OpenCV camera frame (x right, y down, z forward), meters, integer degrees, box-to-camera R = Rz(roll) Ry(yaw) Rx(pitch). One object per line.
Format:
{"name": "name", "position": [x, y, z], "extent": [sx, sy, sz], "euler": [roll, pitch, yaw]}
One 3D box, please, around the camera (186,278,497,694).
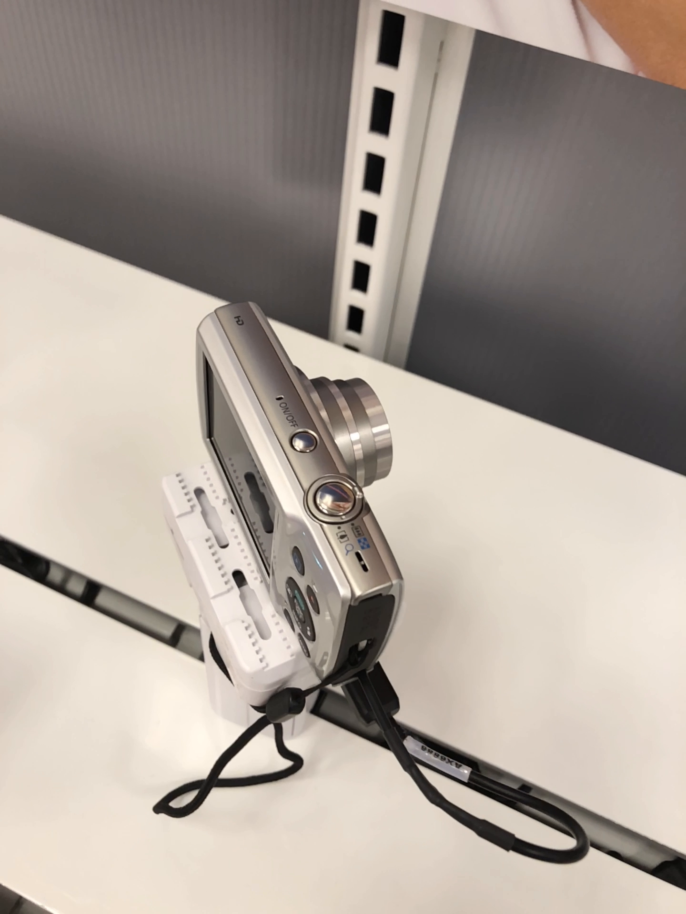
{"name": "camera", "position": [-0.006, 0.006, 0.208], "extent": [0.042, 0.055, 0.089], "euler": [-17, 57, -18]}
